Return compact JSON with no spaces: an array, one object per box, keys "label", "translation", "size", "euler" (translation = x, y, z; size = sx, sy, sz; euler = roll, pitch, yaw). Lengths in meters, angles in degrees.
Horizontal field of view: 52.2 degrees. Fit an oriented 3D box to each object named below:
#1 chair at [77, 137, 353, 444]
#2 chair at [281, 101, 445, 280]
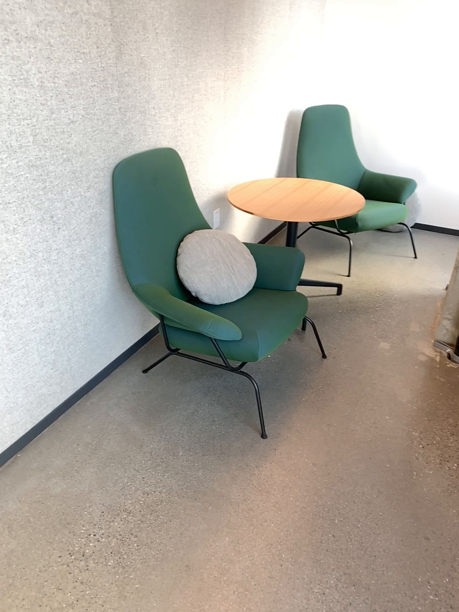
[{"label":"chair","translation":[-0.033,-0.140,2.102],"size":[0.842,0.994,0.723],"euler":[17,34,27]},{"label":"chair","translation":[0.883,-0.854,3.325],"size":[0.651,1.014,0.754],"euler":[-15,32,-26]}]
